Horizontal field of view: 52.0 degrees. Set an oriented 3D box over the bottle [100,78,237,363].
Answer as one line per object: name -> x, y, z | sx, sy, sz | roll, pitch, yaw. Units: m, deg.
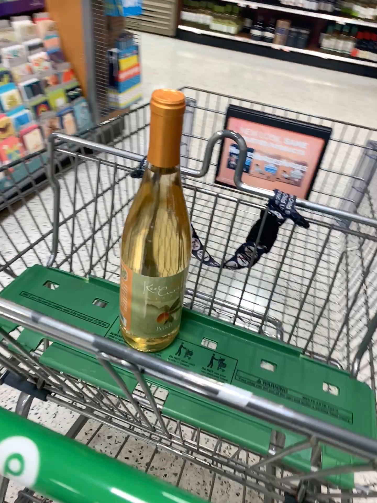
bottle -> -0.037, -0.015, 0.415 | 0.084, 0.297, 0.087 | 6, 40, -5
